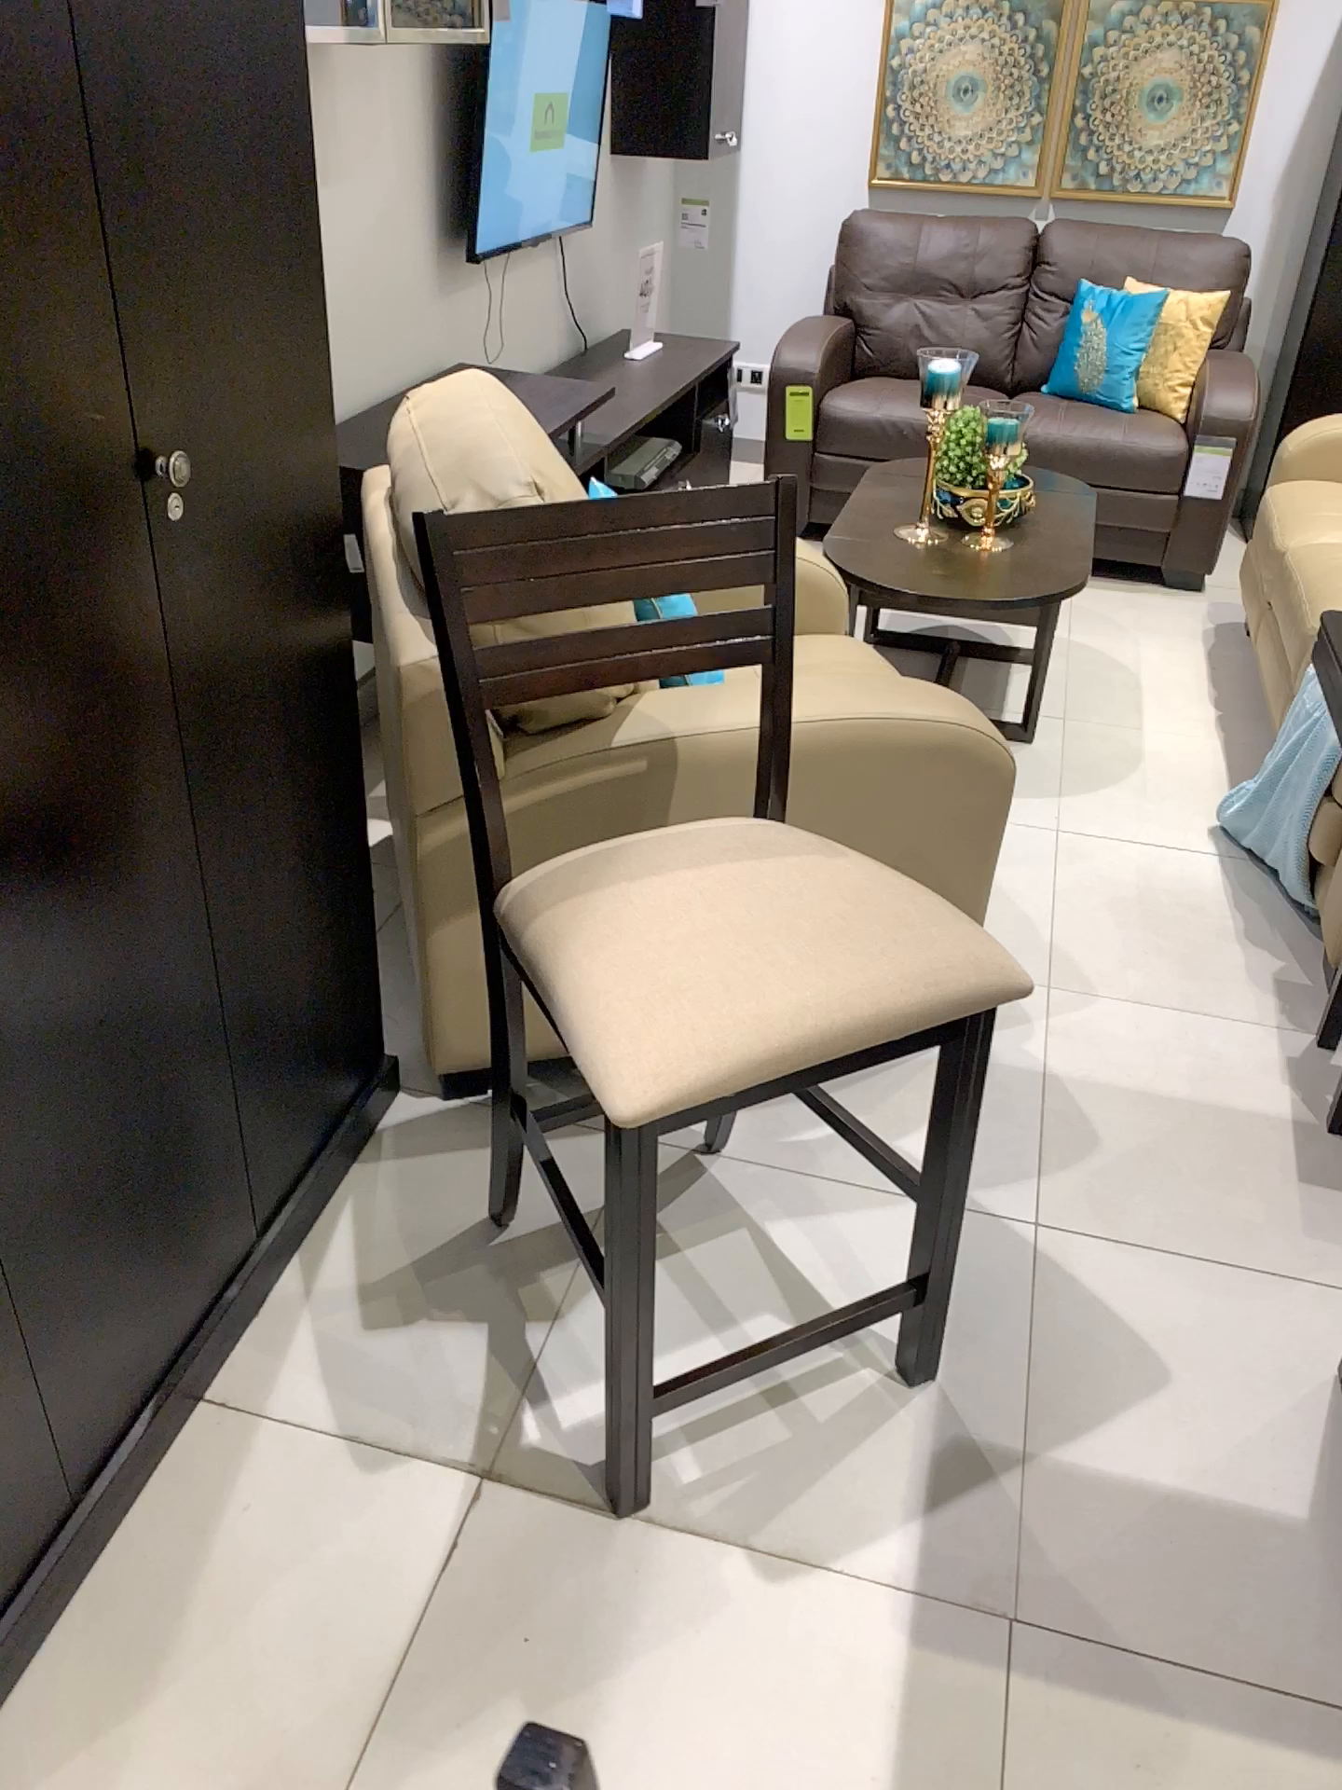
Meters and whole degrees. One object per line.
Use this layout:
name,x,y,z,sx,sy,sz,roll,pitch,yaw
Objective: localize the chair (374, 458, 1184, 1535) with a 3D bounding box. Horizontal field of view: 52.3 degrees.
chair,0.049,0.075,1.514,0.520,0.916,0.592,-14,35,-26
